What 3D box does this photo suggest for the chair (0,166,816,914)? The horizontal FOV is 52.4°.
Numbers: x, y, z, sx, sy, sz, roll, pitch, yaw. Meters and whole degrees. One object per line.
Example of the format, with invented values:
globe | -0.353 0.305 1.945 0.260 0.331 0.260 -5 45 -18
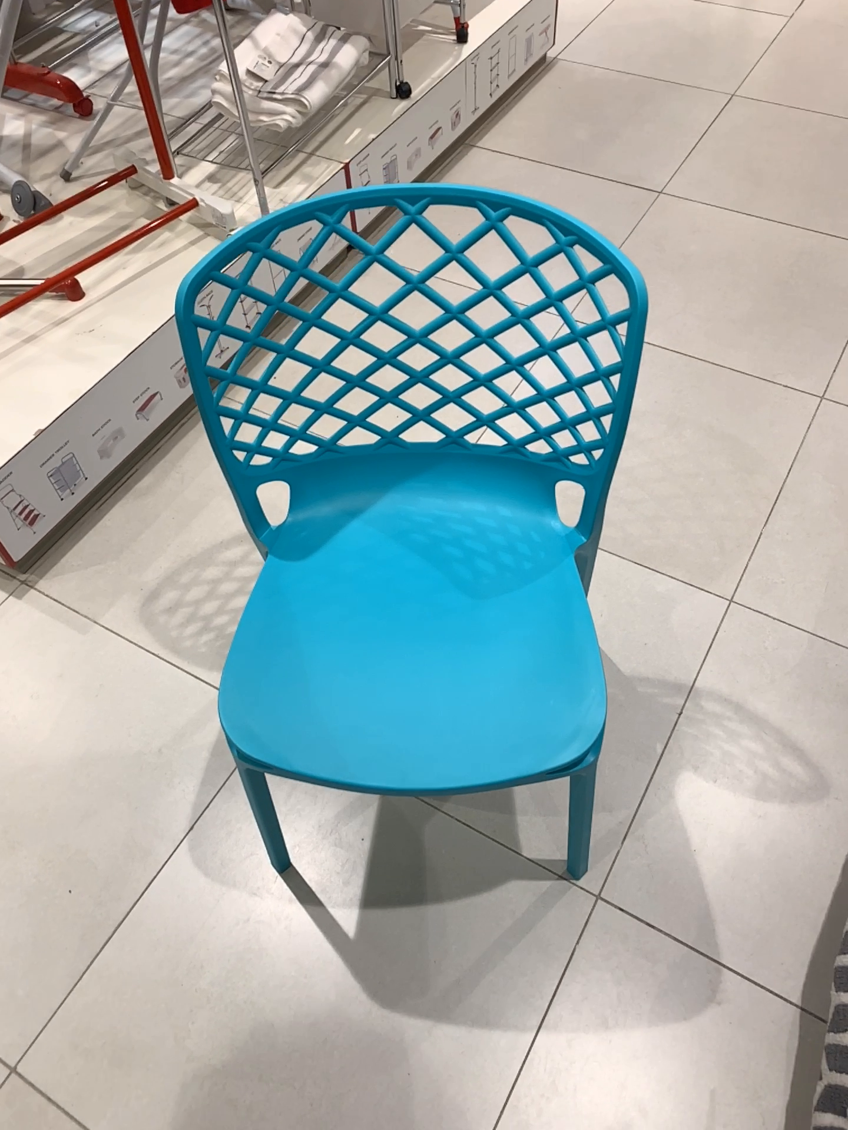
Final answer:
chair | 0.008 0.040 1.061 0.560 0.798 0.521 0 53 4
